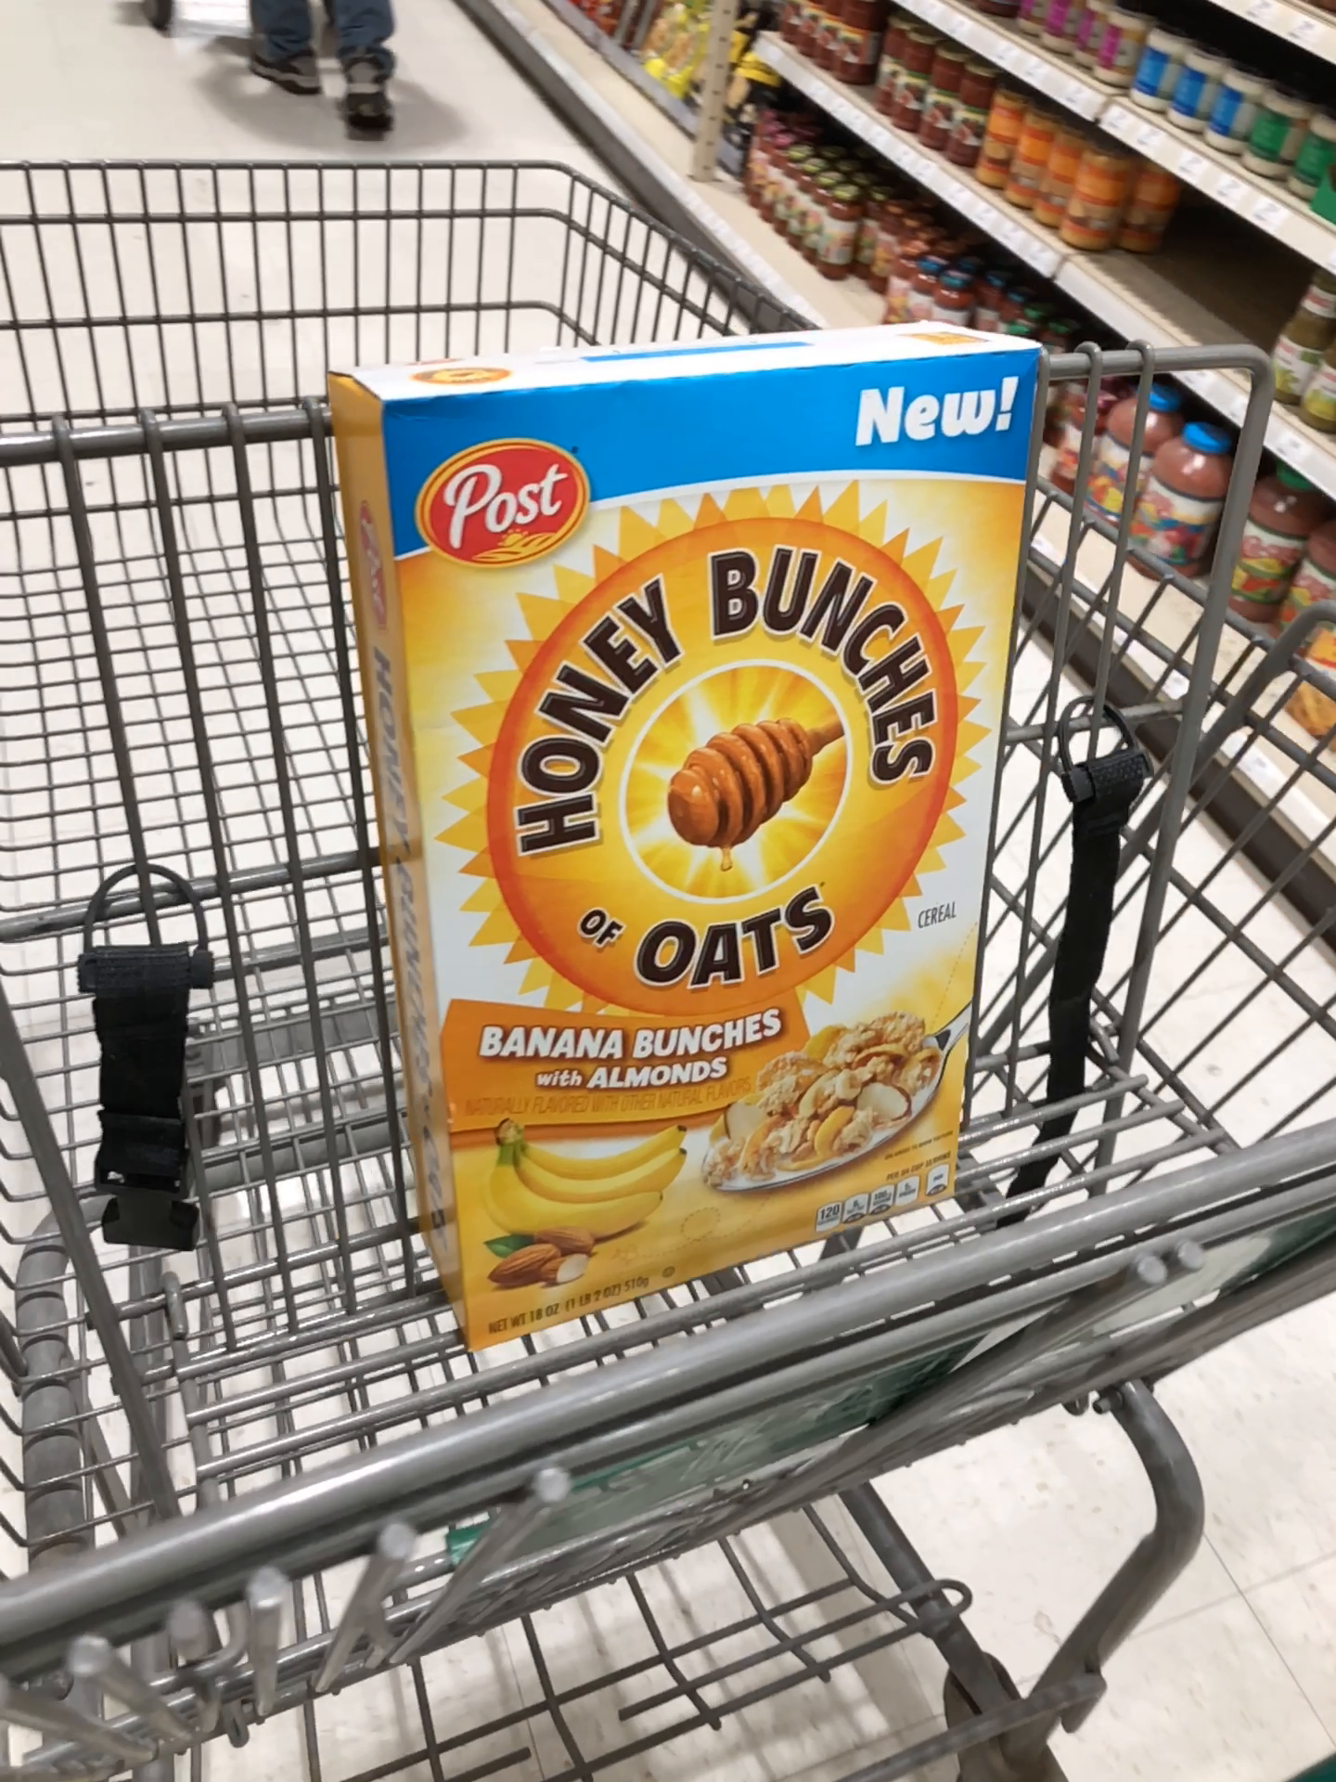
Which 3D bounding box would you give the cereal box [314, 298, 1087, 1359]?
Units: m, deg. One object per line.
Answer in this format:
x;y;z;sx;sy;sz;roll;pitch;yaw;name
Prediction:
0.012;-0.018;0.461;0.200;0.300;0.060;-12;30;-23;cereal box
